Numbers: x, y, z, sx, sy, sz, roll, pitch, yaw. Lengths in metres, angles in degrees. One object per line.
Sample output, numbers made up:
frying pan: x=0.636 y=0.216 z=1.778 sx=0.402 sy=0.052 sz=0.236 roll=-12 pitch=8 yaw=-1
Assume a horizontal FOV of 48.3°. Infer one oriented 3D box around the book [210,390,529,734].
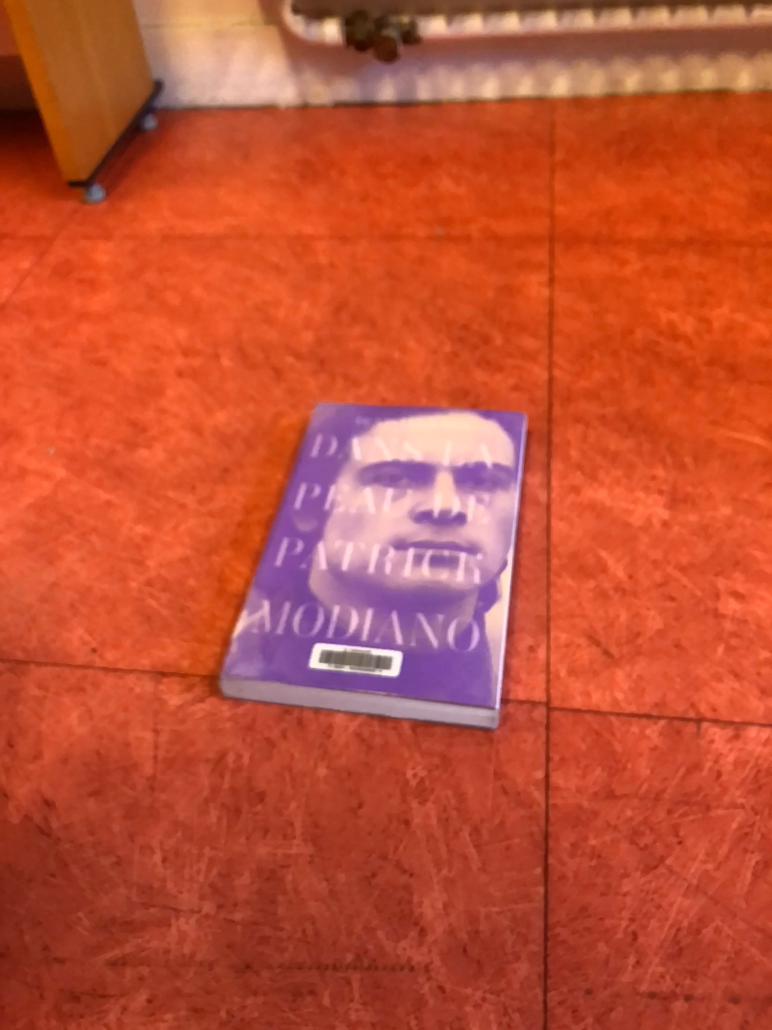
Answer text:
book: x=0.004 y=0.013 z=0.525 sx=0.150 sy=0.030 sz=0.234 roll=5 pitch=47 yaw=9
